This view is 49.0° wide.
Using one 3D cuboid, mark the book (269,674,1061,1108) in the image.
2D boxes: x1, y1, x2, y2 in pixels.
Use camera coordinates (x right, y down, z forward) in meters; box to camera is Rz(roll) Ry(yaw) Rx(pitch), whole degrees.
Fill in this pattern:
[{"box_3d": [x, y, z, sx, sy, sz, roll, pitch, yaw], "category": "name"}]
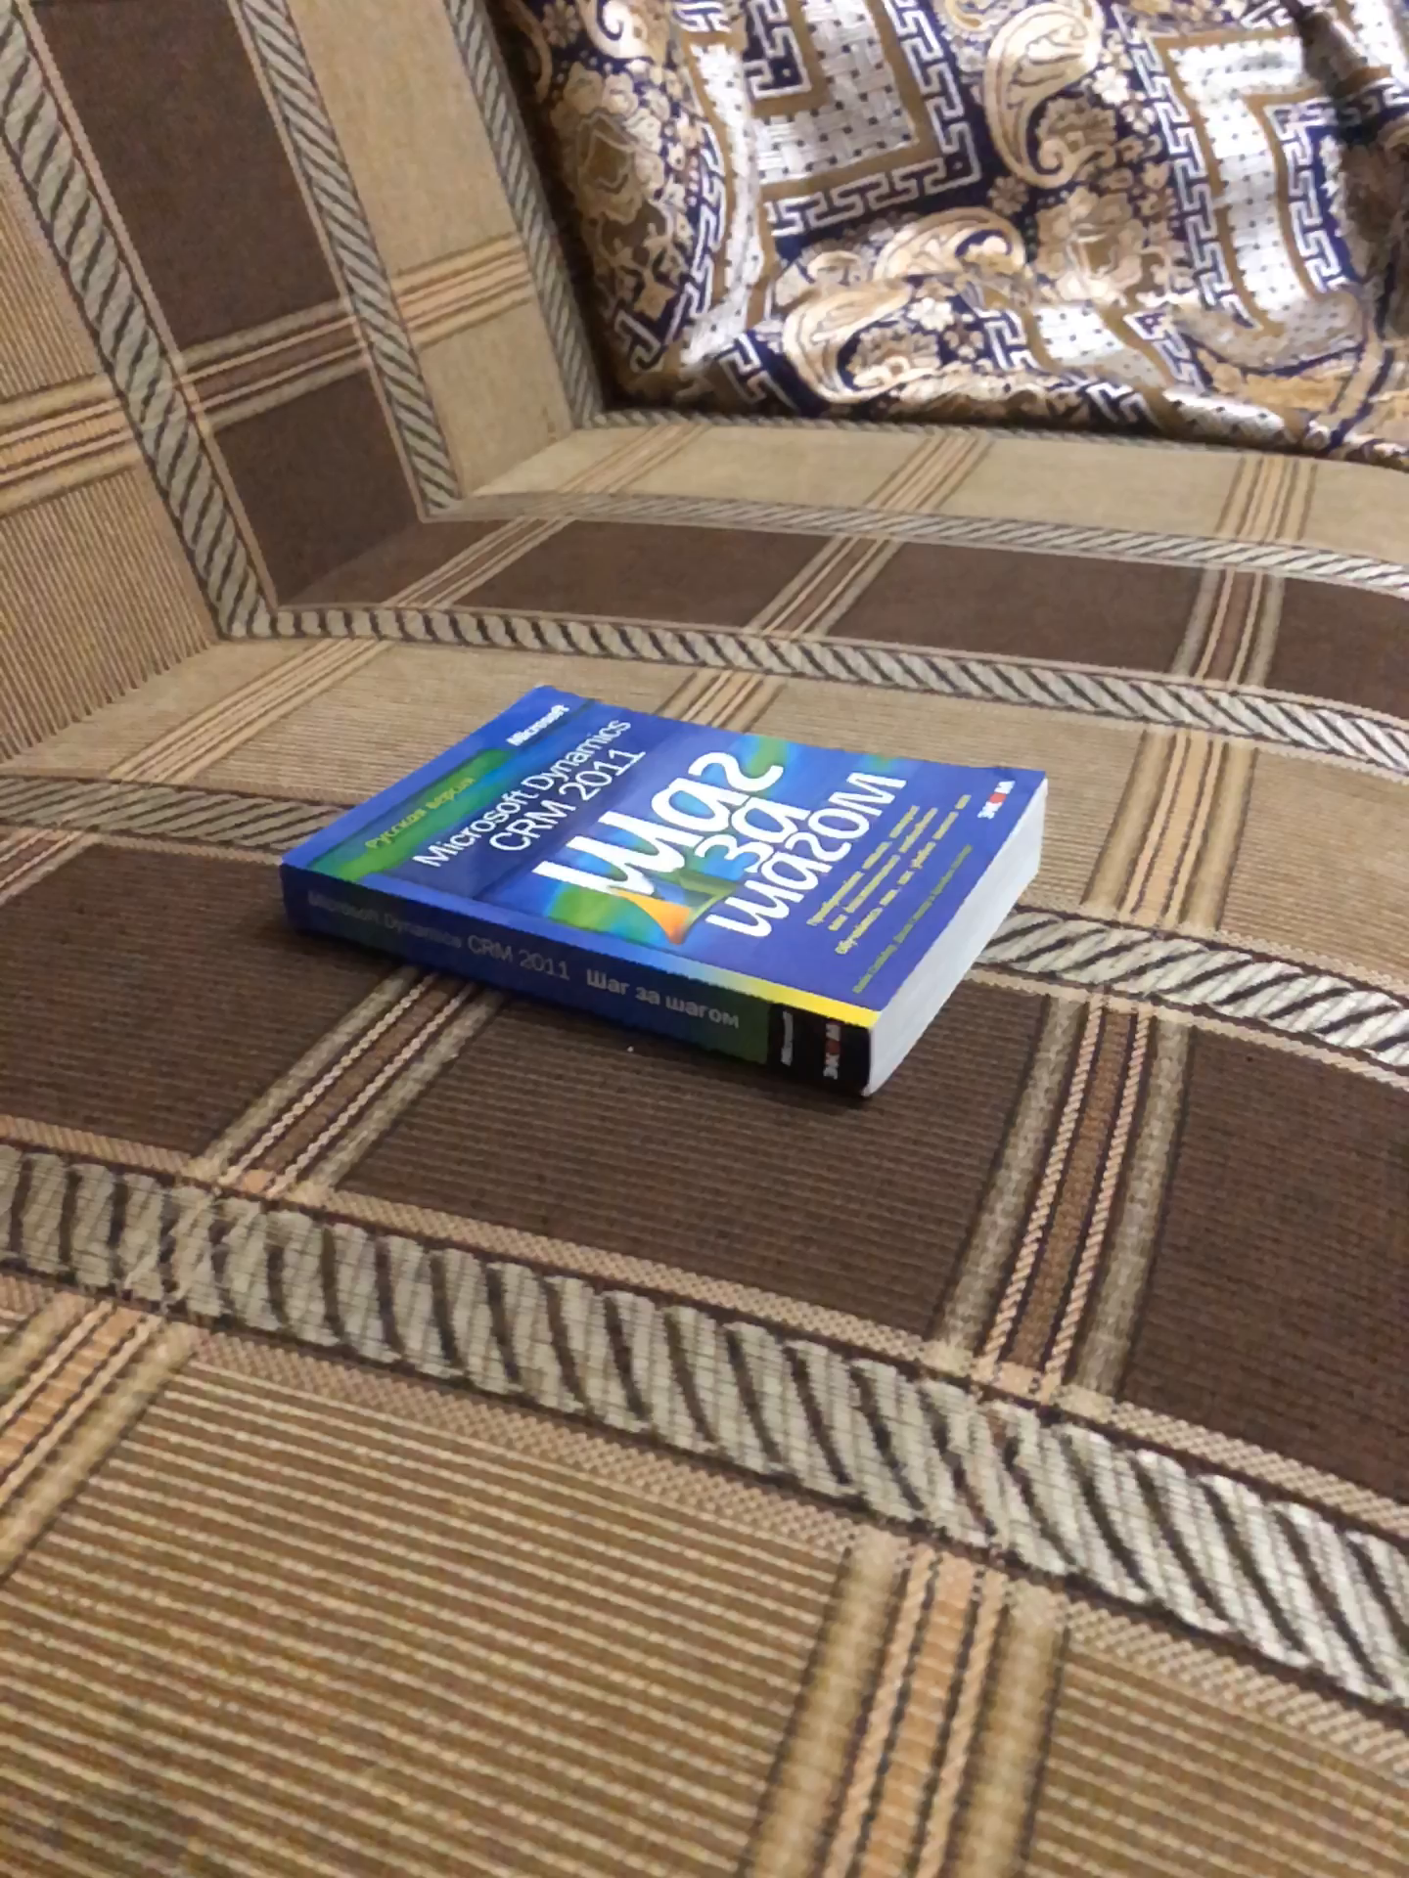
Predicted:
[{"box_3d": [-0.008, -0.028, 0.491, 0.200, 0.030, 0.151, 15, 35, 23], "category": "book"}]
